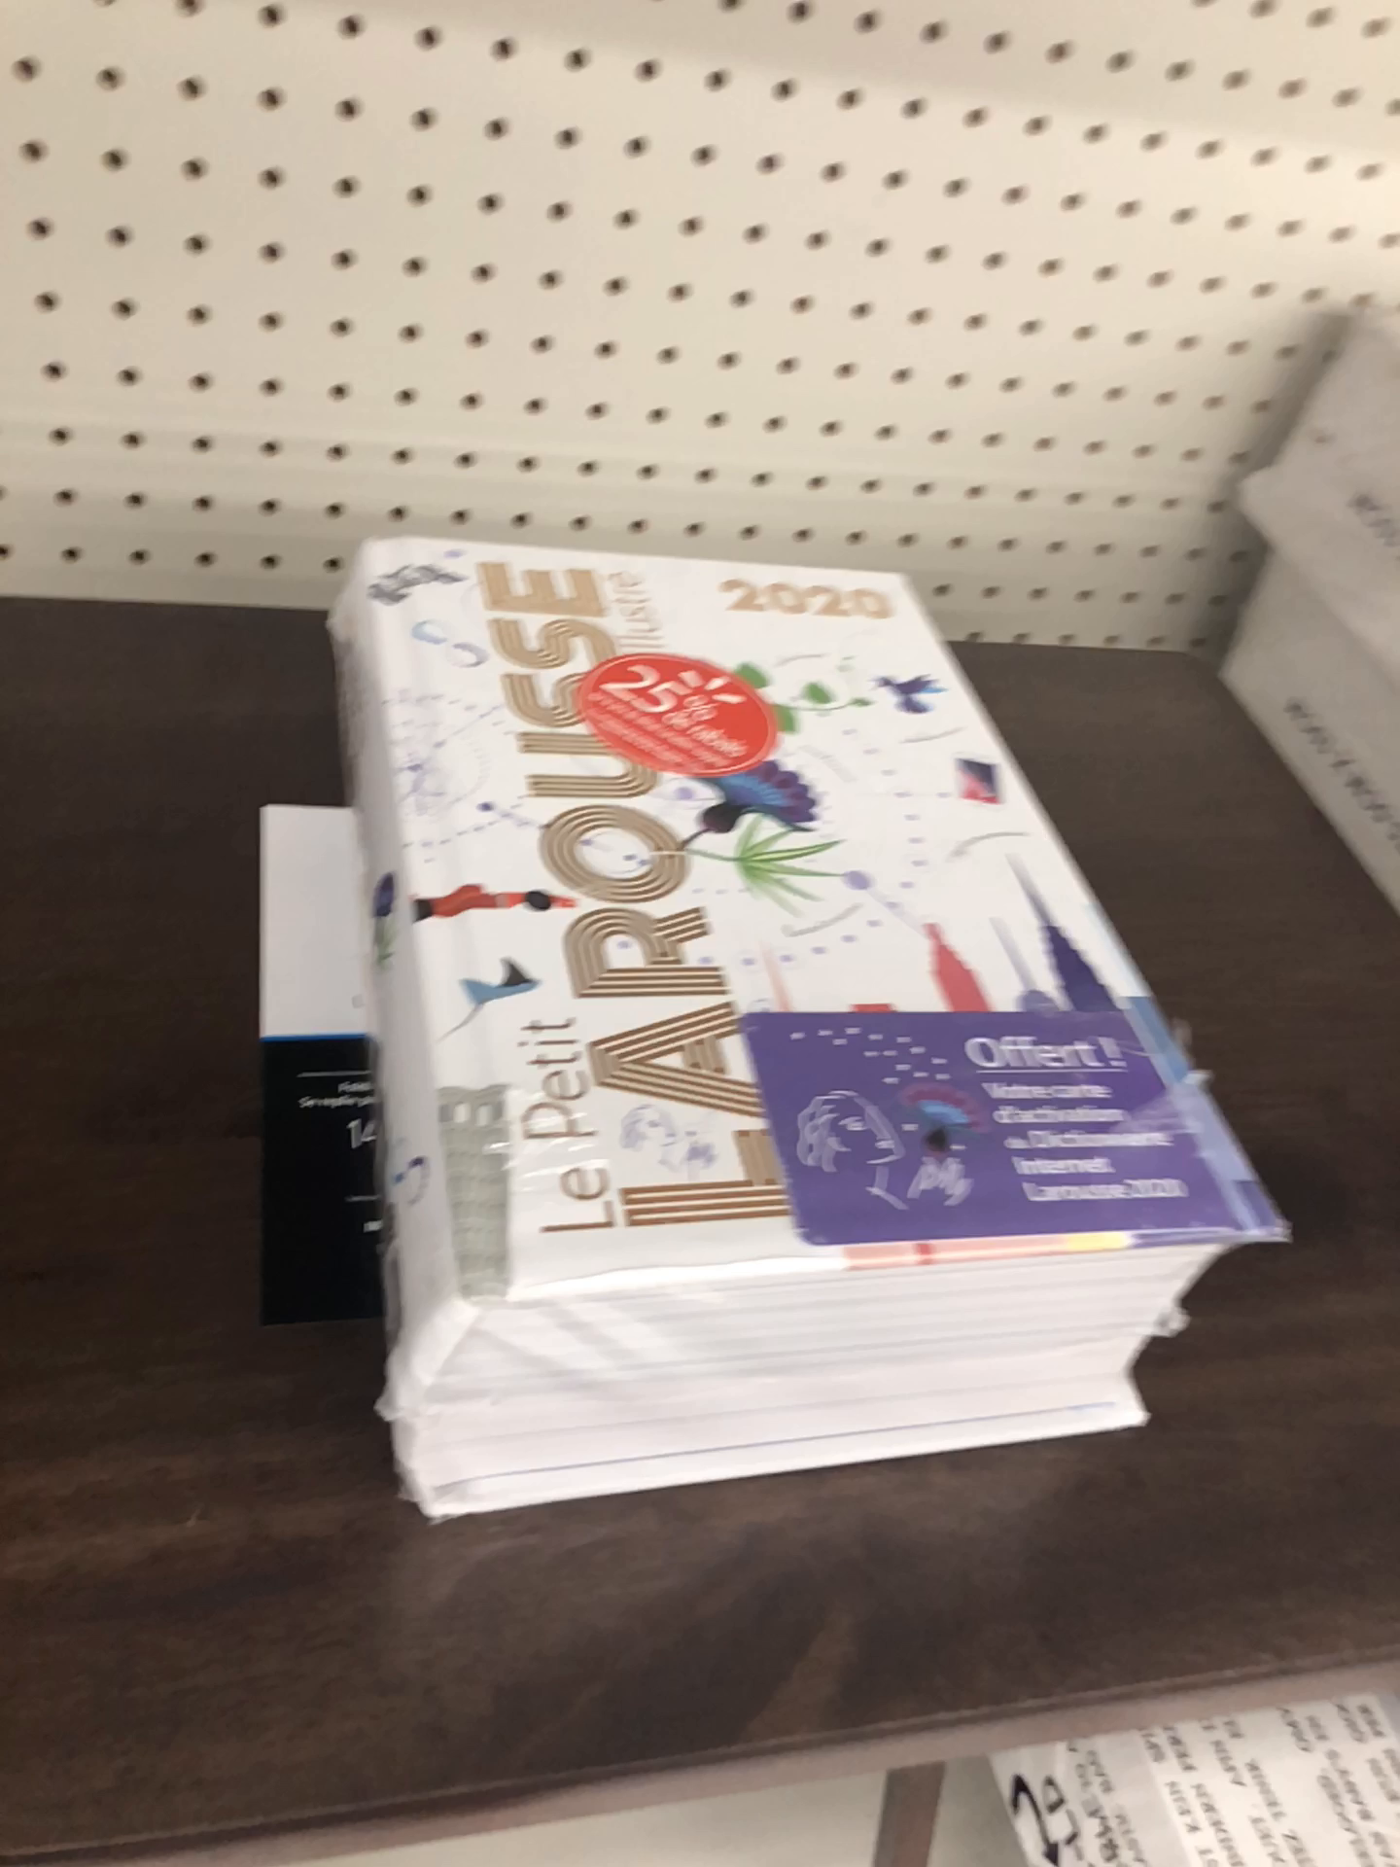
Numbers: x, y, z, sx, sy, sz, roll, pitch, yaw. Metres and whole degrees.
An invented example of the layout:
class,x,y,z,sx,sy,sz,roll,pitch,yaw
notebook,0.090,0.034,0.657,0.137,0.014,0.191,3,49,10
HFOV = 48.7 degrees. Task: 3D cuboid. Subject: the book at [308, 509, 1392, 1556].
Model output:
class,x,y,z,sx,sy,sz,roll,pitch,yaw
book,0.006,0.000,0.346,0.170,0.069,0.232,-1,44,-17
